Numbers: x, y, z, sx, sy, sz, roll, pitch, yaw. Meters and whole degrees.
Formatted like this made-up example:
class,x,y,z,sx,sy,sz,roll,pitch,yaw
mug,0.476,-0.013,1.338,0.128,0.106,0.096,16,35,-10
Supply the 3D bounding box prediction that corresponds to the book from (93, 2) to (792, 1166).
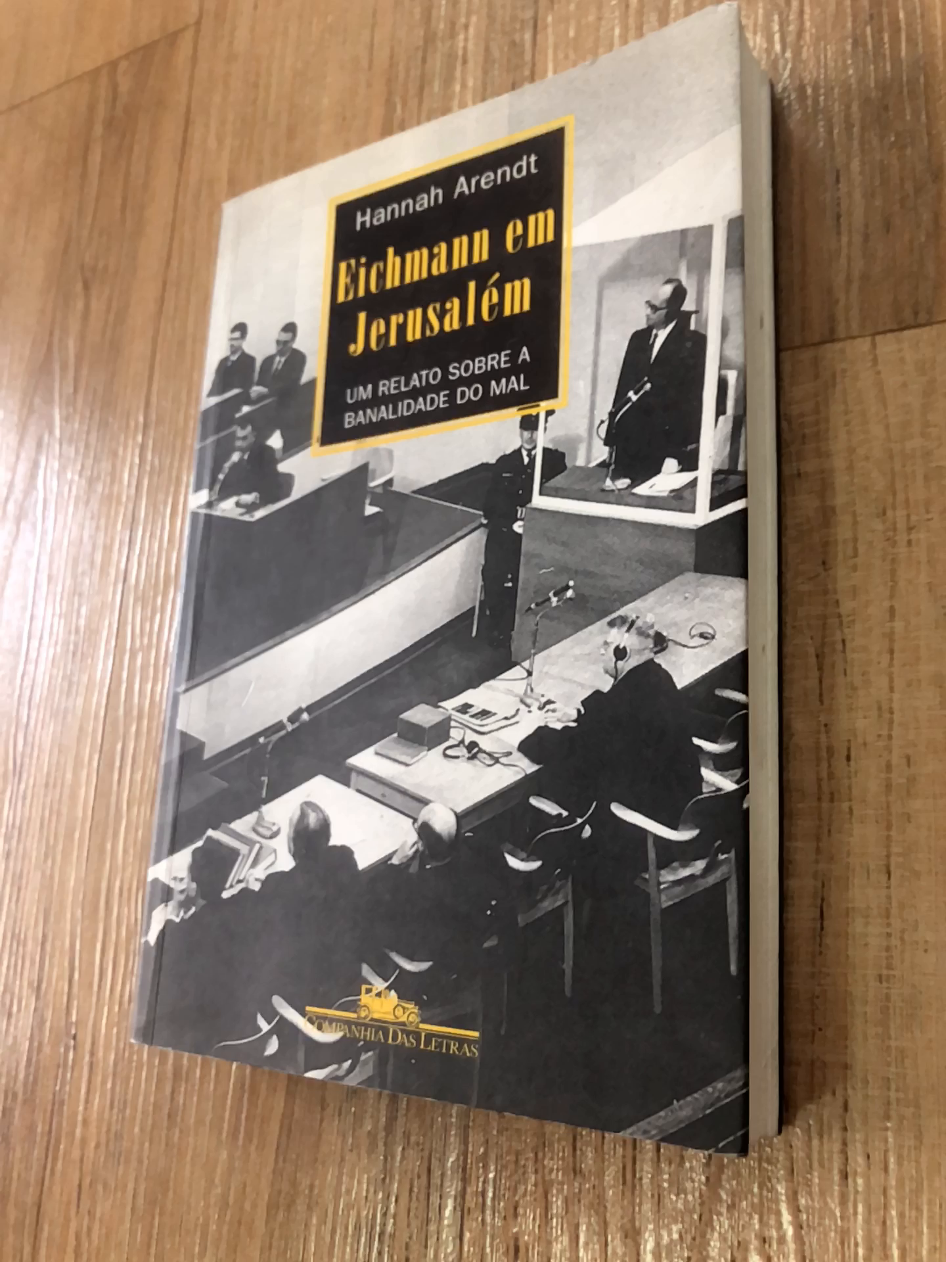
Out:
class,x,y,z,sx,sy,sz,roll,pitch,yaw
book,-0.008,-0.012,0.225,0.140,0.030,0.200,-4,76,30
